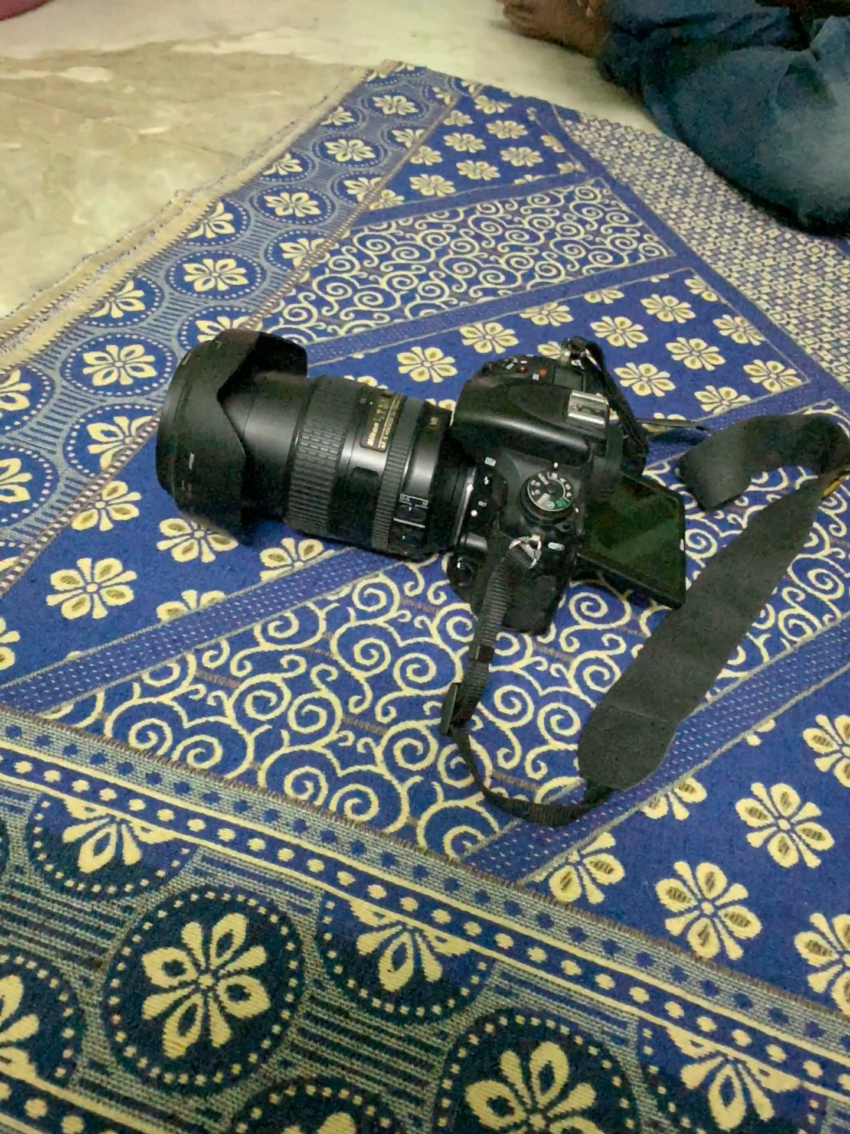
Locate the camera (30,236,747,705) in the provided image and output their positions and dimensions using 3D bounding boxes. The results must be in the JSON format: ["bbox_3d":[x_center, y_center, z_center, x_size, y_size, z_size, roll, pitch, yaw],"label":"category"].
[{"bbox_3d":[-0.009,-0.059,0.472,0.320,0.110,0.161,13,47,4],"label":"camera"}]
